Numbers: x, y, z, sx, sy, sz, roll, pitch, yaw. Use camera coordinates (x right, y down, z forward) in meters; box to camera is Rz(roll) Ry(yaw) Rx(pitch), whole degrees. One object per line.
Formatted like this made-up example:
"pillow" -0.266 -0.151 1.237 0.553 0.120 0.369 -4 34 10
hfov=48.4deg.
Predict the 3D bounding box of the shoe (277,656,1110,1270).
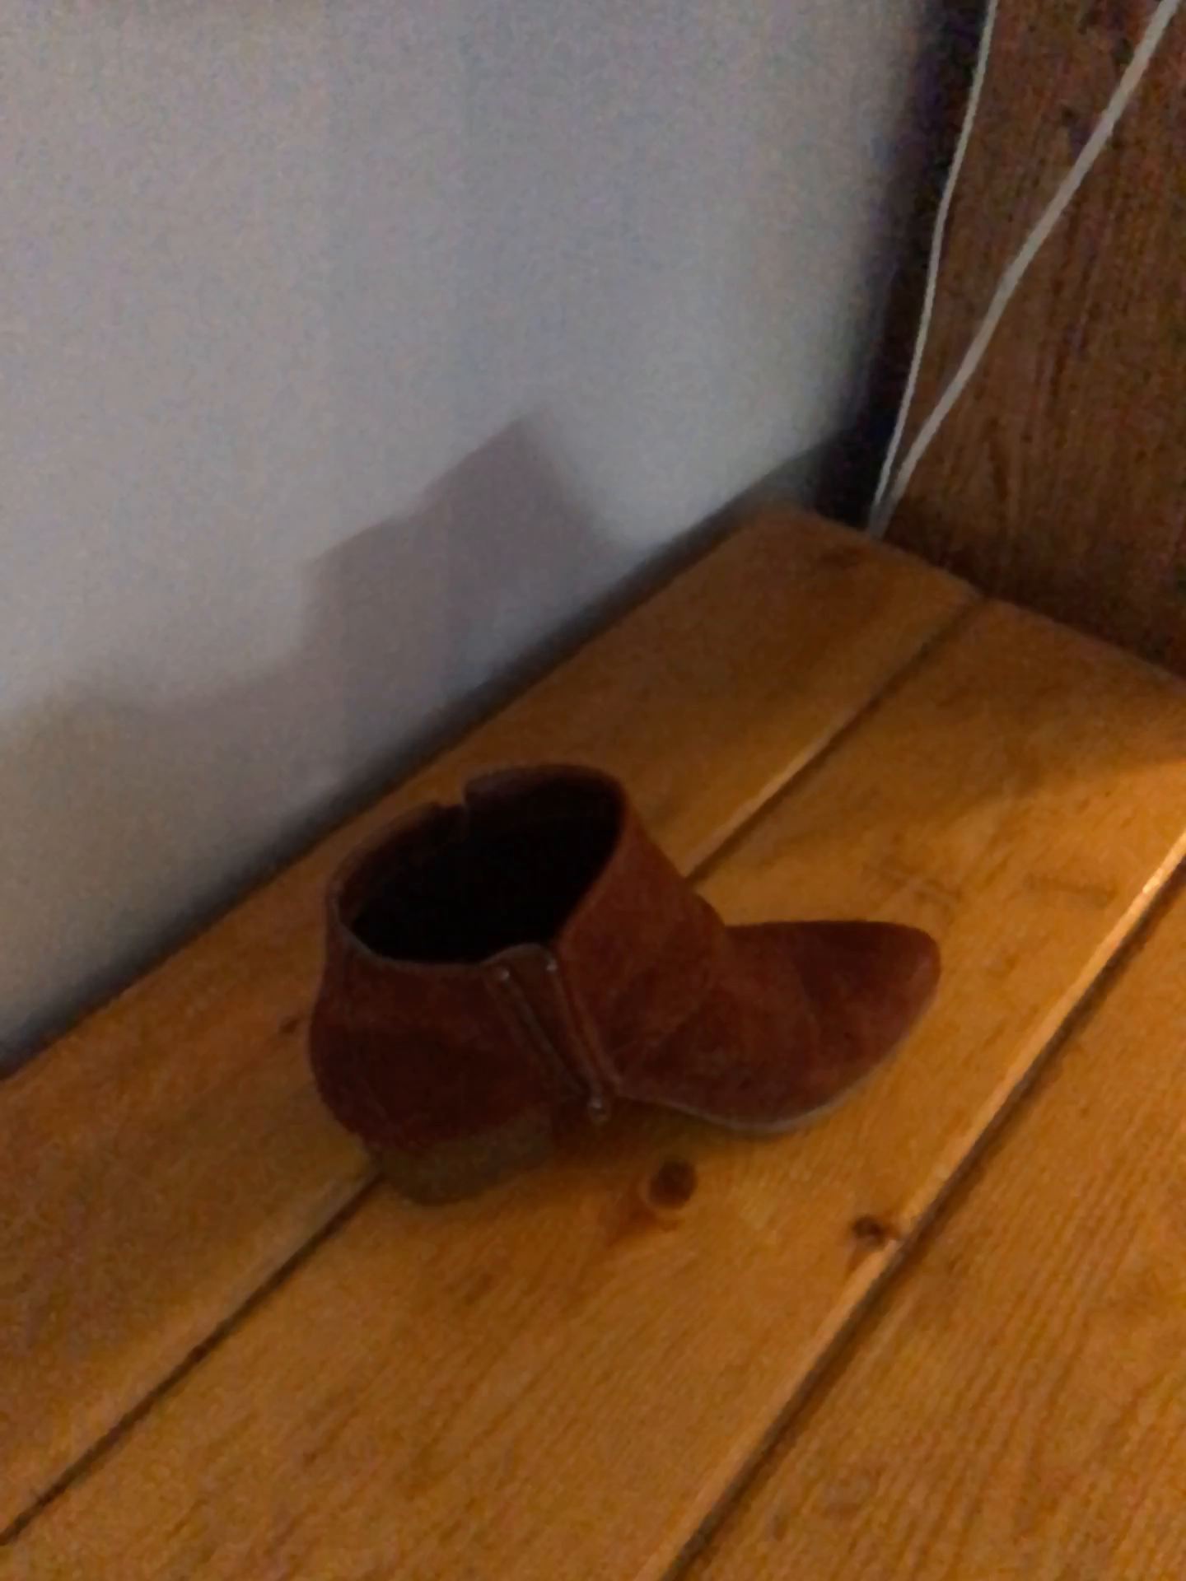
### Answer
"shoe" 0.031 0.061 0.475 0.250 0.150 0.090 -13 48 -13
